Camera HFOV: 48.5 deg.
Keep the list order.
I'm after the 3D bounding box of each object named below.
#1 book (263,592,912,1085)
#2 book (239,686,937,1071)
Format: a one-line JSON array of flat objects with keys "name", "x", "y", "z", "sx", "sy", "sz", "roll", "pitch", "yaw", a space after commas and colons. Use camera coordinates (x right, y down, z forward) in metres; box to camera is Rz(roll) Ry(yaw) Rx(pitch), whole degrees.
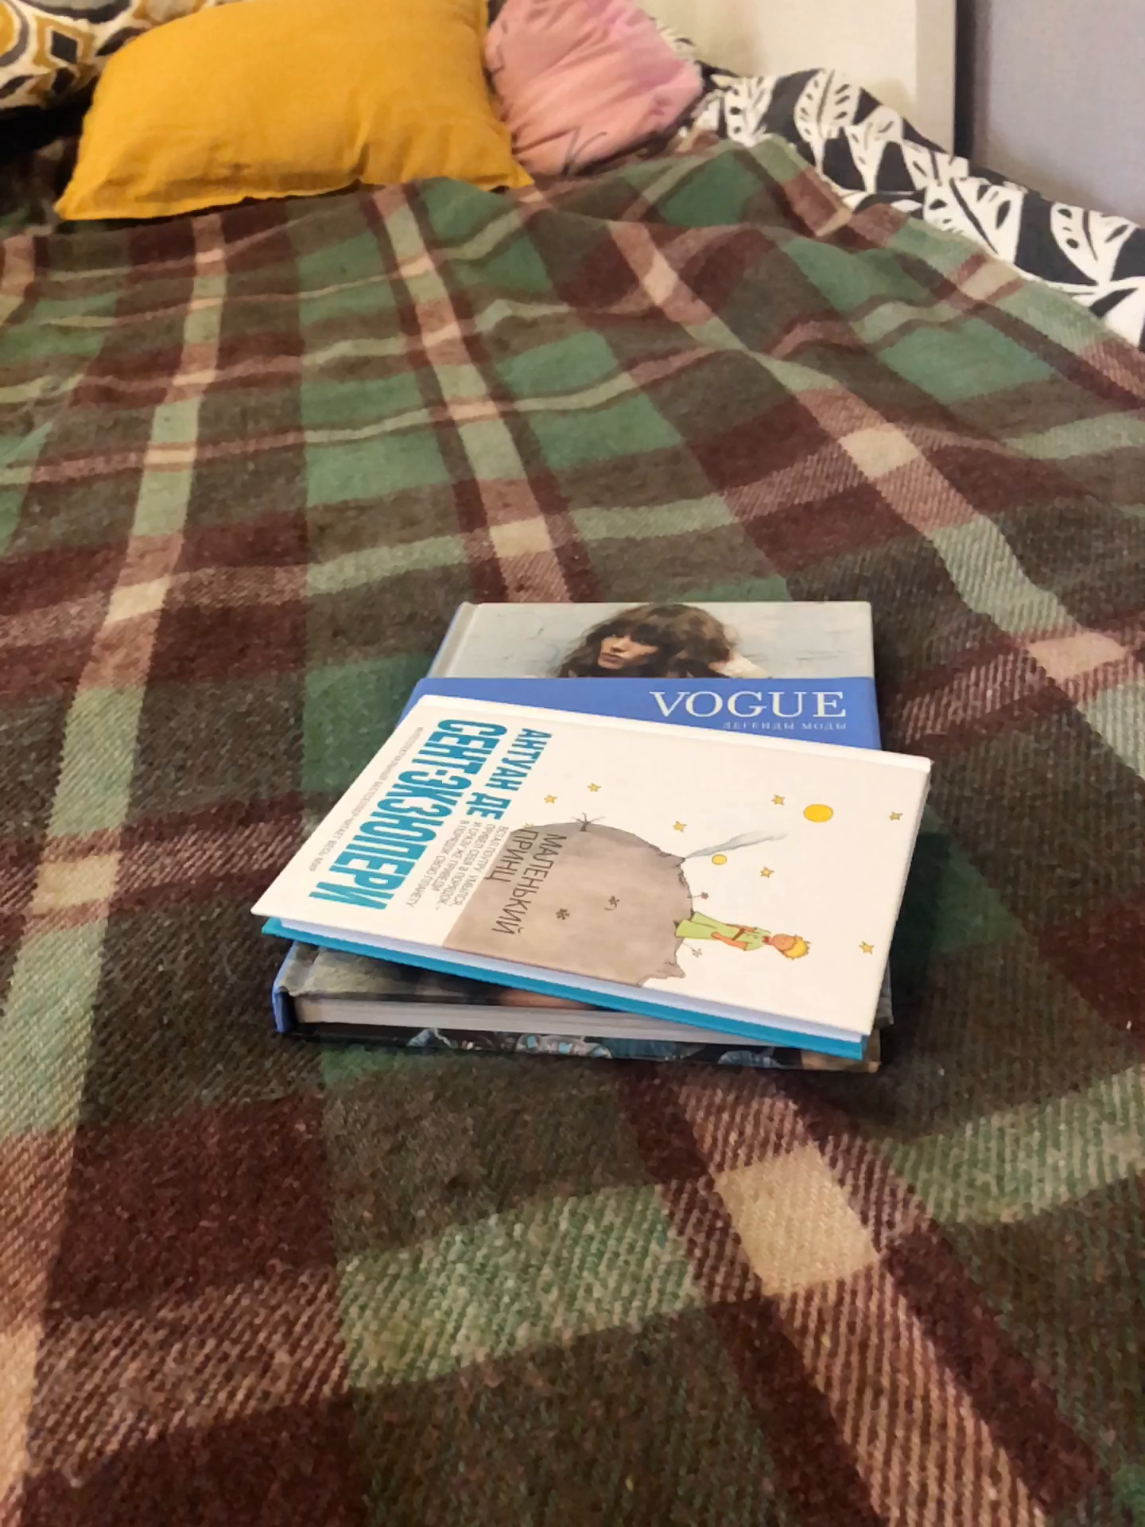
[{"name": "book", "x": 0.020, "y": 0.005, "z": 0.441, "sx": 0.174, "sy": 0.023, "sz": 0.241, "roll": 2, "pitch": 34, "yaw": 10}, {"name": "book", "x": 0.010, "y": 0.023, "z": 0.367, "sx": 0.170, "sy": 0.014, "sz": 0.120, "roll": 8, "pitch": 36, "yaw": 18}]
